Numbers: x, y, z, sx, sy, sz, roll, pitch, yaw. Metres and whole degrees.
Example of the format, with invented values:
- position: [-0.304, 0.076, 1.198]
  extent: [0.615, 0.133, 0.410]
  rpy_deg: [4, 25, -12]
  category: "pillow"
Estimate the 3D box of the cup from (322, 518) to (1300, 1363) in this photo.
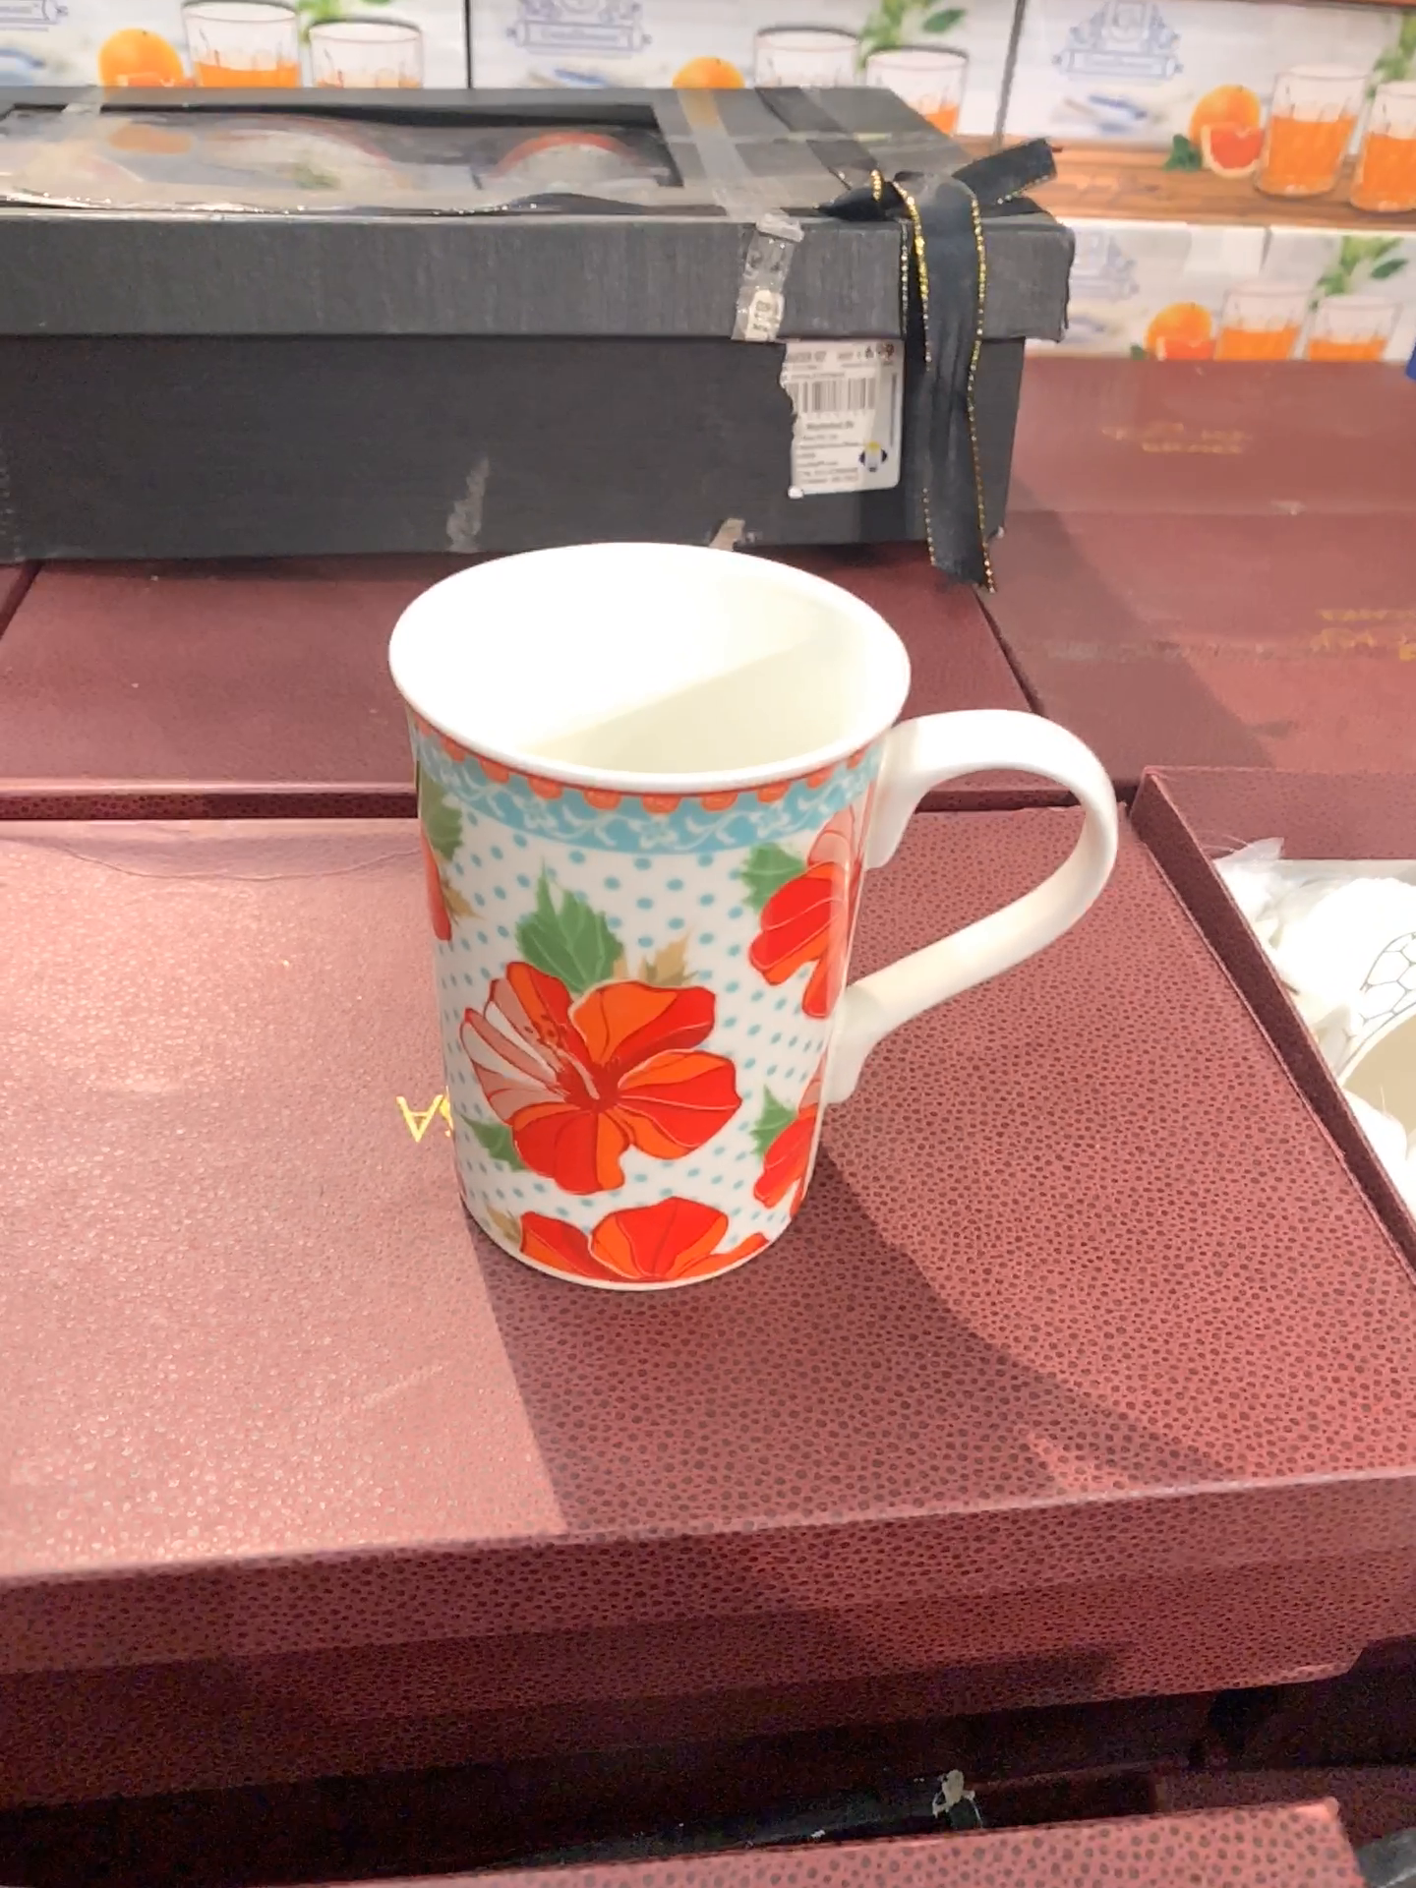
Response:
- position: [0.008, -0.001, 0.242]
  extent: [0.120, 0.110, 0.080]
  rpy_deg: [-1, 38, -6]
  category: "cup"
